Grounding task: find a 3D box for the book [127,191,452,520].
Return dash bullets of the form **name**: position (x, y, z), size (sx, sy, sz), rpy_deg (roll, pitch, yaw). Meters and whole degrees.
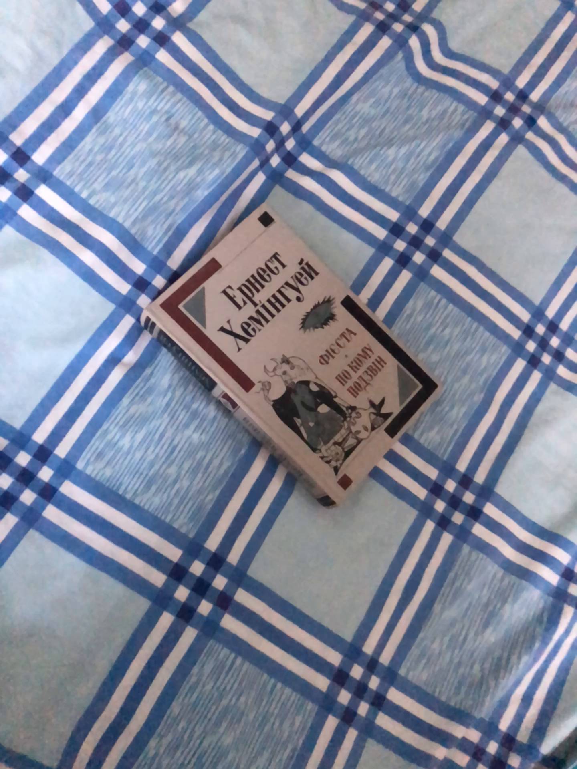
- **book**: position (0.003, -0.023, 0.508), size (0.220, 0.040, 0.142), rpy_deg (46, 75, -3)
